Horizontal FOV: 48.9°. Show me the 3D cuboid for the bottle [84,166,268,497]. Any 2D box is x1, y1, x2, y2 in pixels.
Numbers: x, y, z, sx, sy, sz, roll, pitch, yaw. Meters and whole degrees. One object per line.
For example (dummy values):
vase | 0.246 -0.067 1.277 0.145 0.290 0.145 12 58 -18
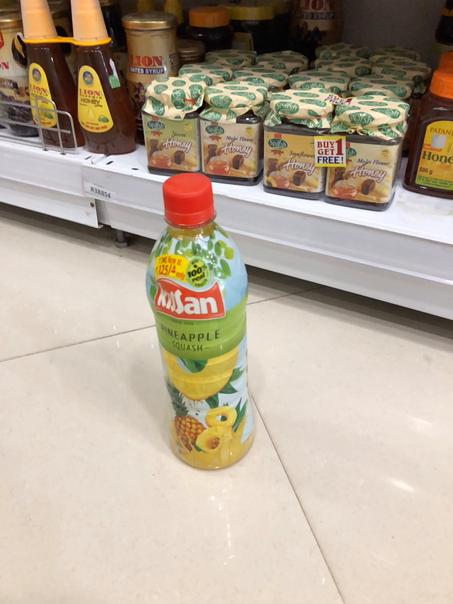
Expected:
bottle | -0.020 0.032 0.355 0.080 0.229 0.081 -2 39 2
